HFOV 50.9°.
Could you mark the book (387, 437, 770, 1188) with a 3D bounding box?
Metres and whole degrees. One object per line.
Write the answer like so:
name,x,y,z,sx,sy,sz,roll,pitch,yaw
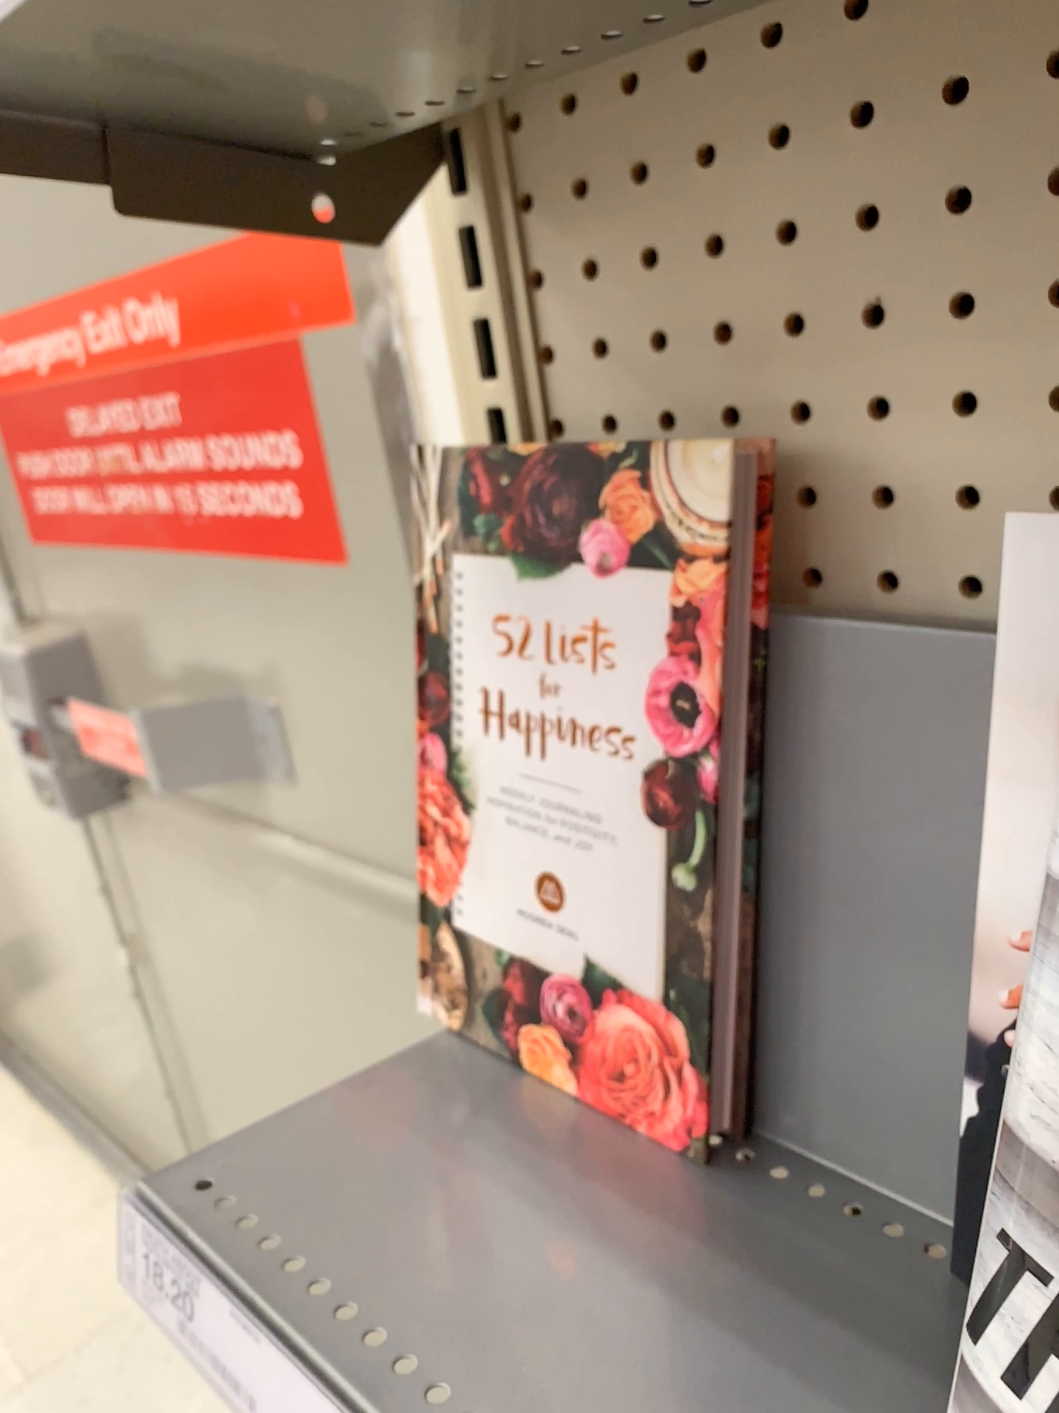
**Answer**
book,0.007,0.024,0.370,0.020,0.216,0.150,-9,14,-42
